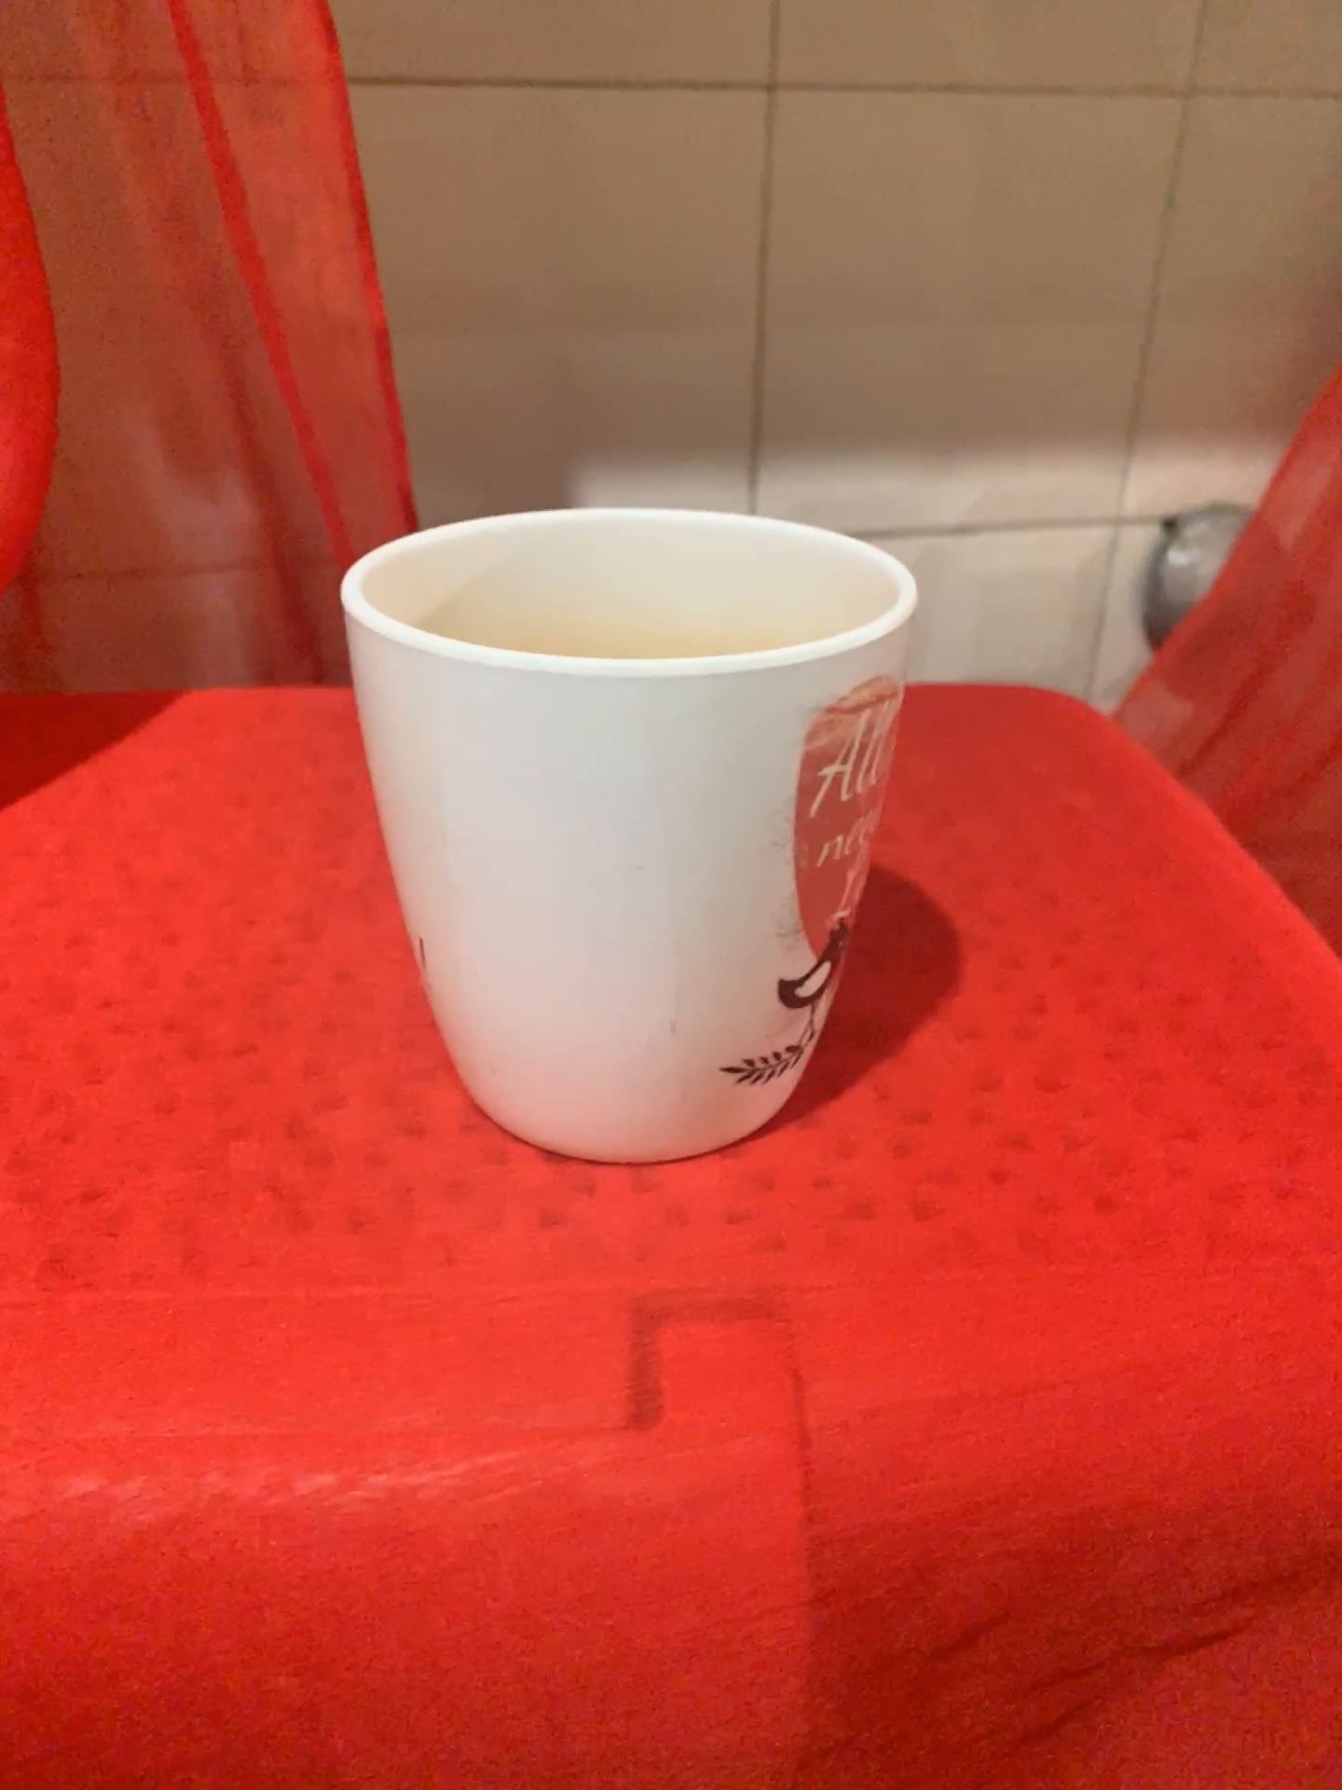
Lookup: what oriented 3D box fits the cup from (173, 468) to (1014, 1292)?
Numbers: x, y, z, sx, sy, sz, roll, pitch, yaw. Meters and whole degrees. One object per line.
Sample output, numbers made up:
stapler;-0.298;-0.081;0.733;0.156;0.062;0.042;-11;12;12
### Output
cup;-0.002;-0.014;0.230;0.090;0.079;0.111;10;30;18
